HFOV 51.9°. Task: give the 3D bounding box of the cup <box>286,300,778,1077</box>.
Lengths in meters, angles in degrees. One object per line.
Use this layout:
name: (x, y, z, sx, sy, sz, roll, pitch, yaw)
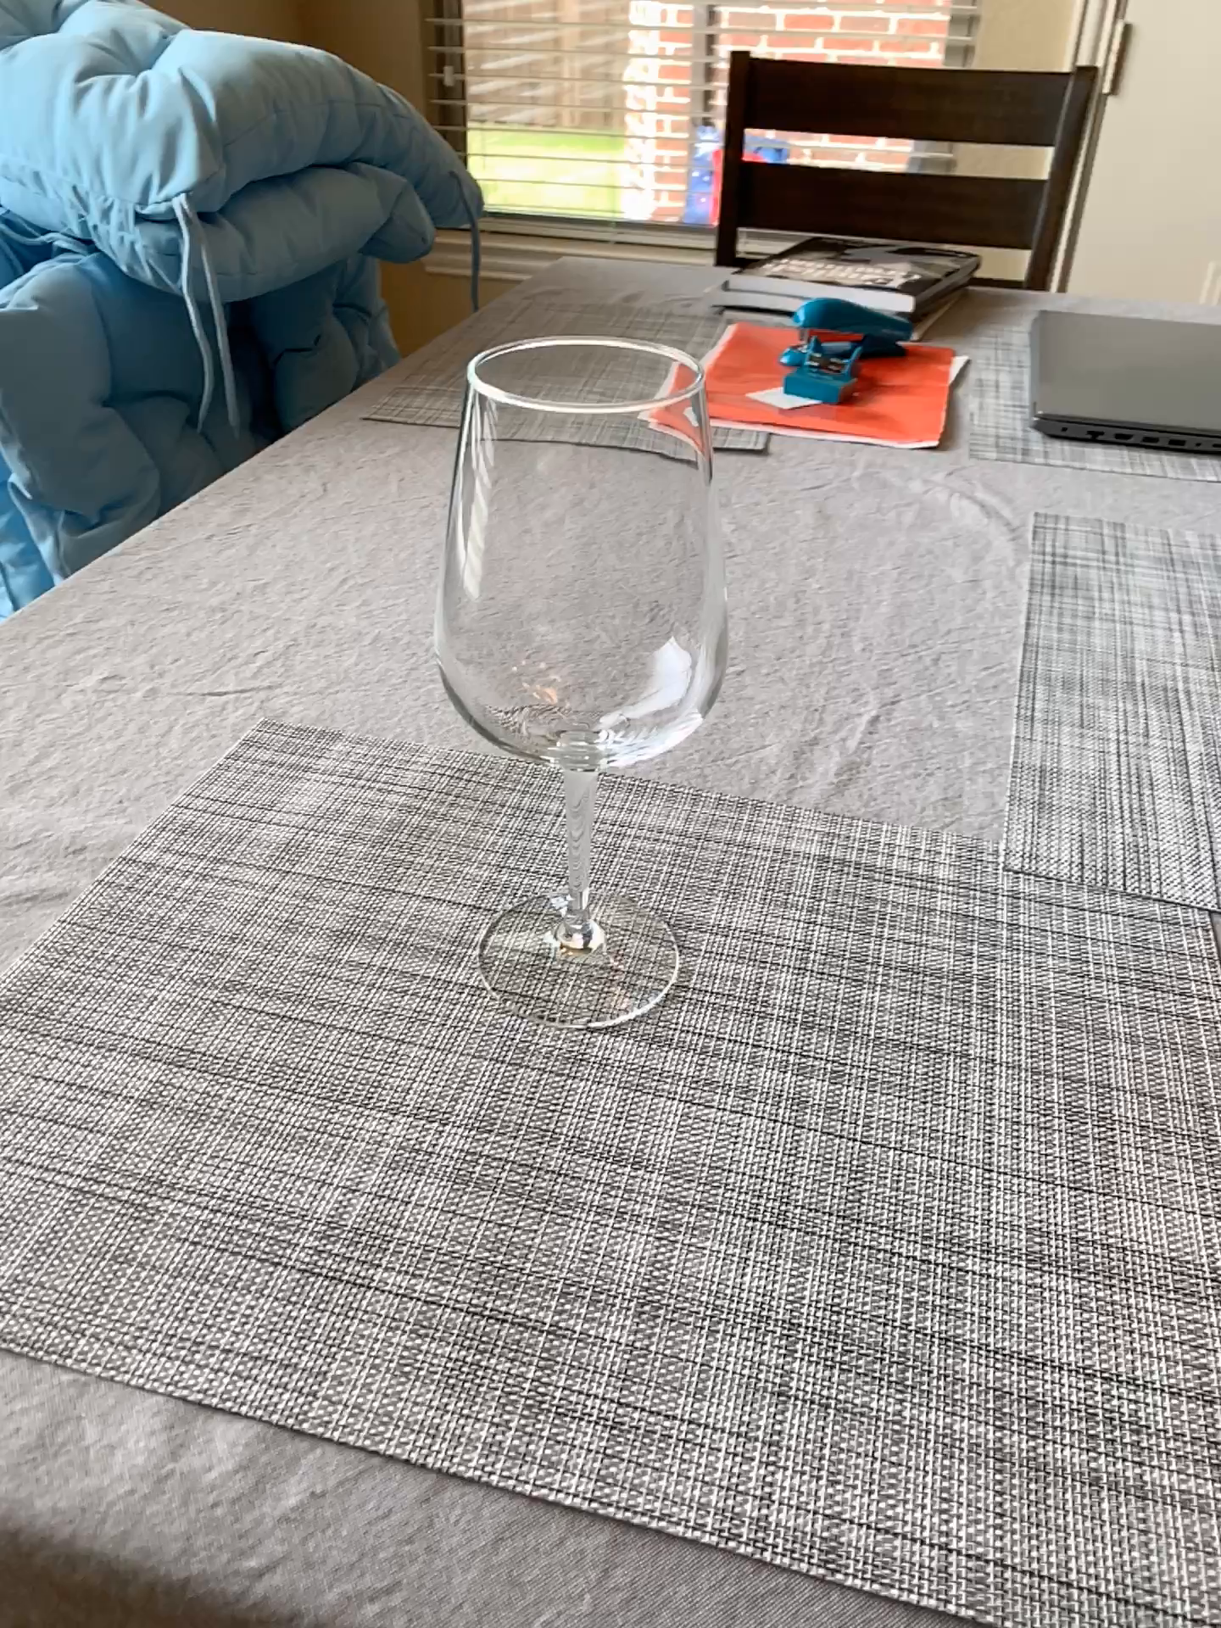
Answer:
cup: (-0.020, -0.038, 0.409, 0.107, 0.214, 0.100, 2, 35, -1)
